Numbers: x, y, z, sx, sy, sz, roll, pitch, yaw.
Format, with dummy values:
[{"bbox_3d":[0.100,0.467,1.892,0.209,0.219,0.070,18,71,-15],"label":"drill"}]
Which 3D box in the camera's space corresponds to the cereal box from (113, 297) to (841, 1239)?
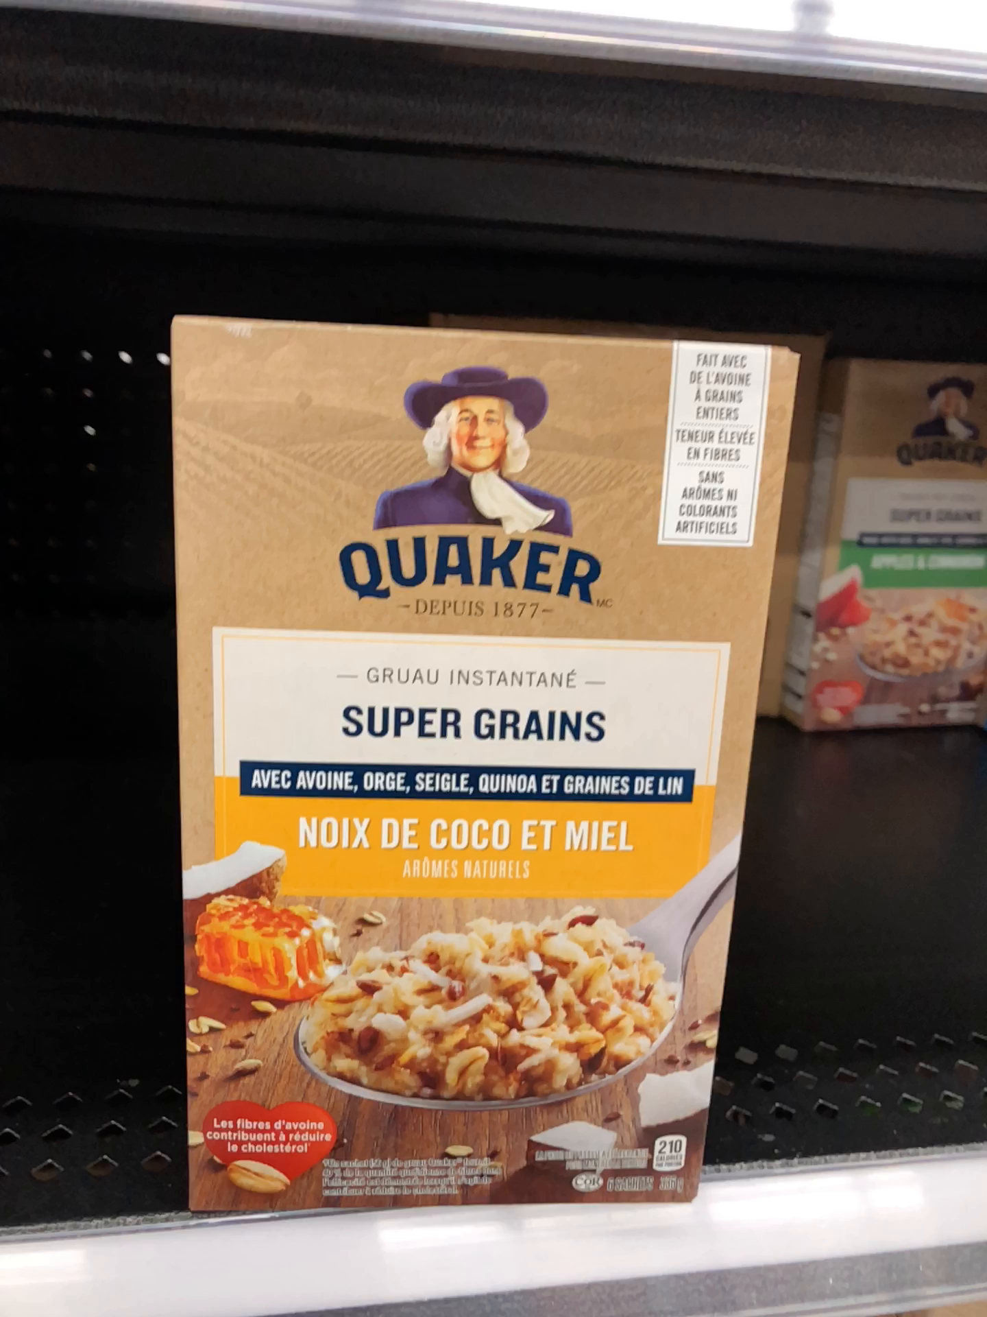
[{"bbox_3d":[-0.008,0.025,0.252,0.130,0.199,0.060,1,16,-6],"label":"cereal box"}]
